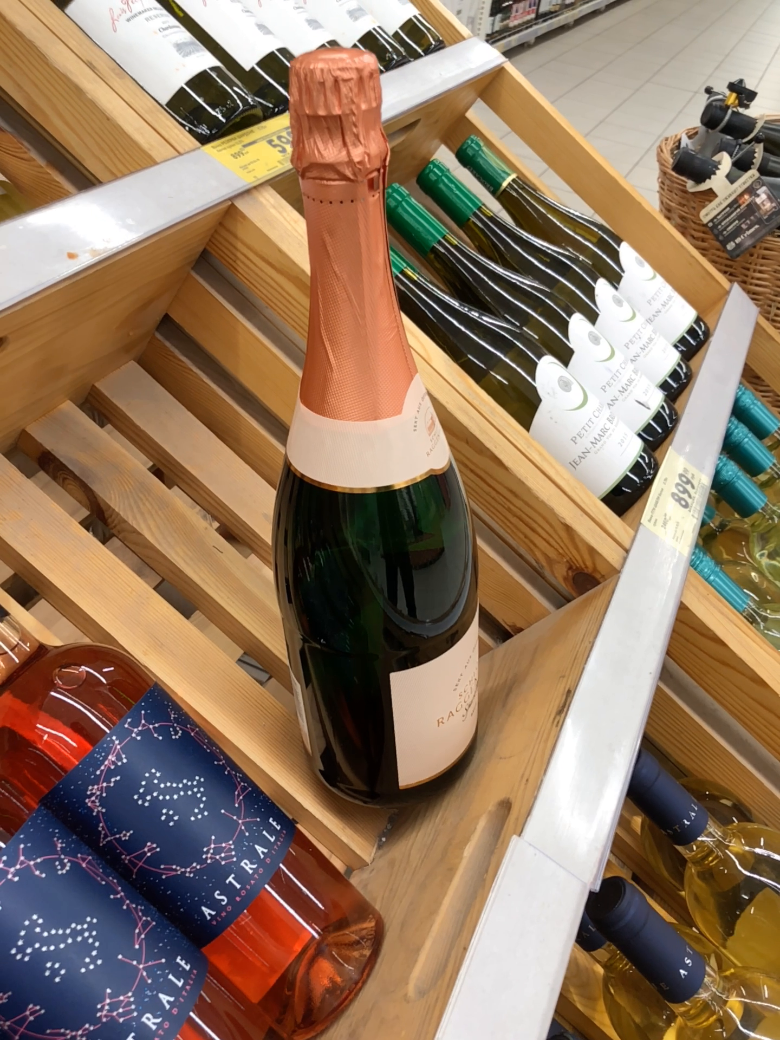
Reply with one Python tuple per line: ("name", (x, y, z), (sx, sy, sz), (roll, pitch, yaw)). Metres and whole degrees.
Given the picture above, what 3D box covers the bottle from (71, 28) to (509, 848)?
("bottle", (-0.017, -0.020, 0.412), (0.110, 0.358, 0.121), (-5, 33, 3))
